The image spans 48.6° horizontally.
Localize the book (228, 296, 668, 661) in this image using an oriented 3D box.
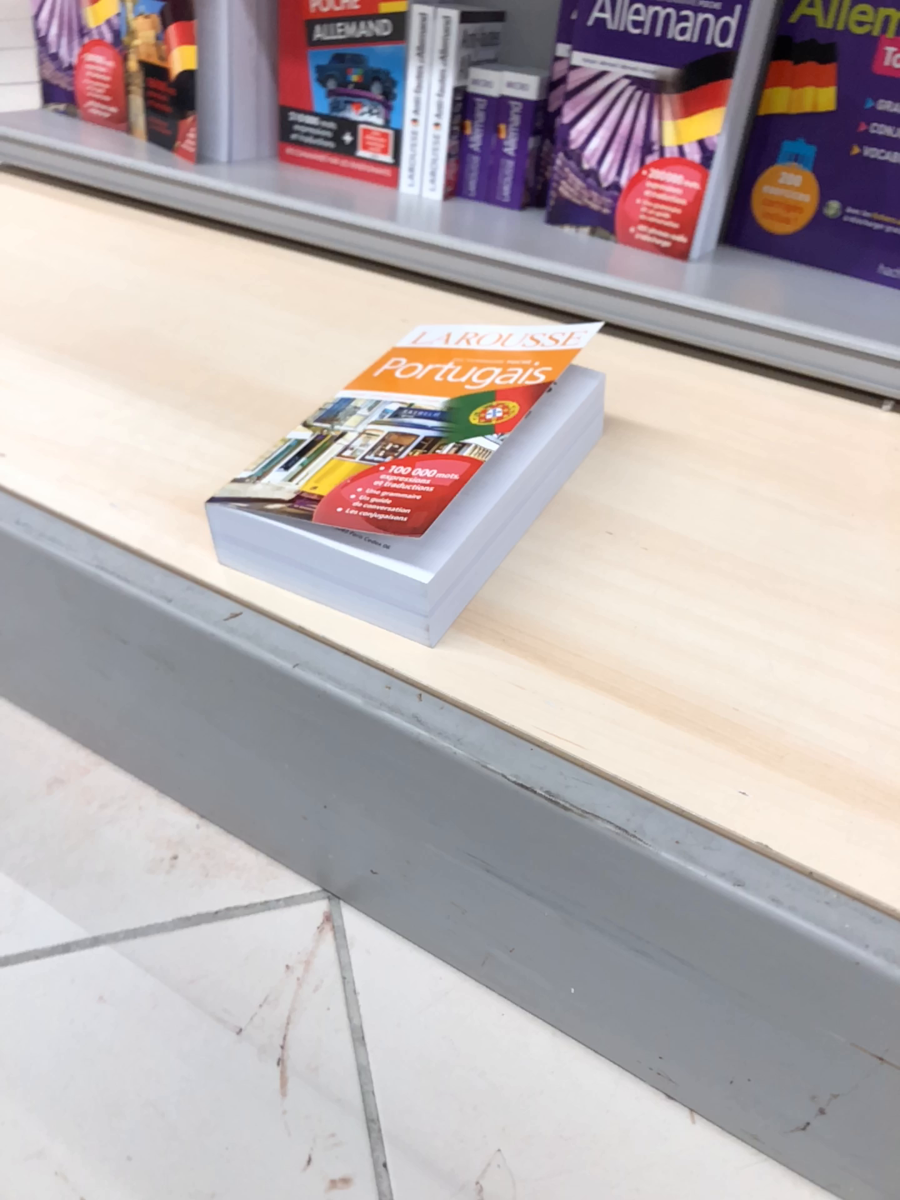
[{"bbox_3d":[0.008,-0.067,0.449,0.117,0.046,0.186,20,45,20],"label":"book"}]
